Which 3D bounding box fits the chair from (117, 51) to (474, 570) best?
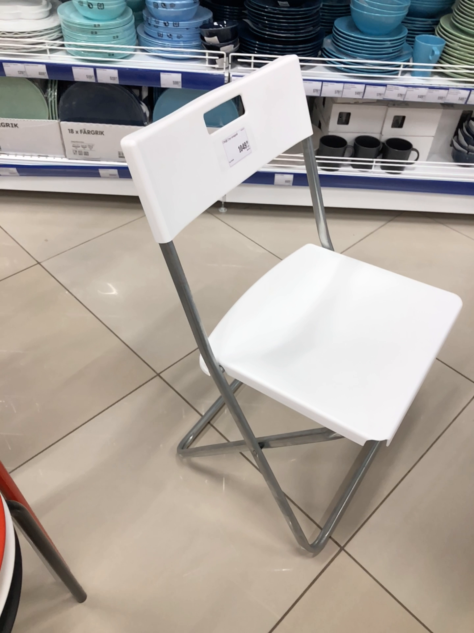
[{"bbox_3d":[0.134,0.008,0.931,0.431,0.710,0.428,27,49,22],"label":"chair"}]
